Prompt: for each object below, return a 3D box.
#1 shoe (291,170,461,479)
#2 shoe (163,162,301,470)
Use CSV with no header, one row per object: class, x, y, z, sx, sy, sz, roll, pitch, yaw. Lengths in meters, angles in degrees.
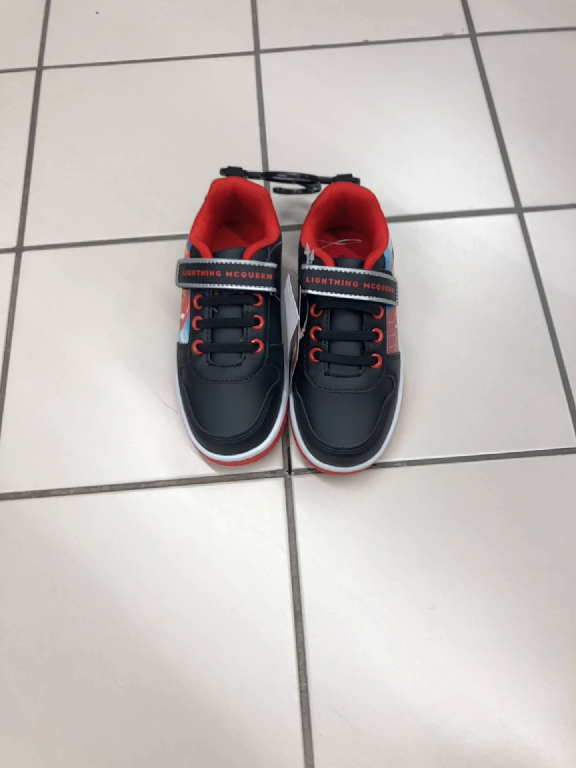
shoe,0.052,-0.045,0.433,0.094,0.053,0.207,-1,66,1
shoe,-0.034,-0.051,0.436,0.080,0.053,0.209,-1,66,1
